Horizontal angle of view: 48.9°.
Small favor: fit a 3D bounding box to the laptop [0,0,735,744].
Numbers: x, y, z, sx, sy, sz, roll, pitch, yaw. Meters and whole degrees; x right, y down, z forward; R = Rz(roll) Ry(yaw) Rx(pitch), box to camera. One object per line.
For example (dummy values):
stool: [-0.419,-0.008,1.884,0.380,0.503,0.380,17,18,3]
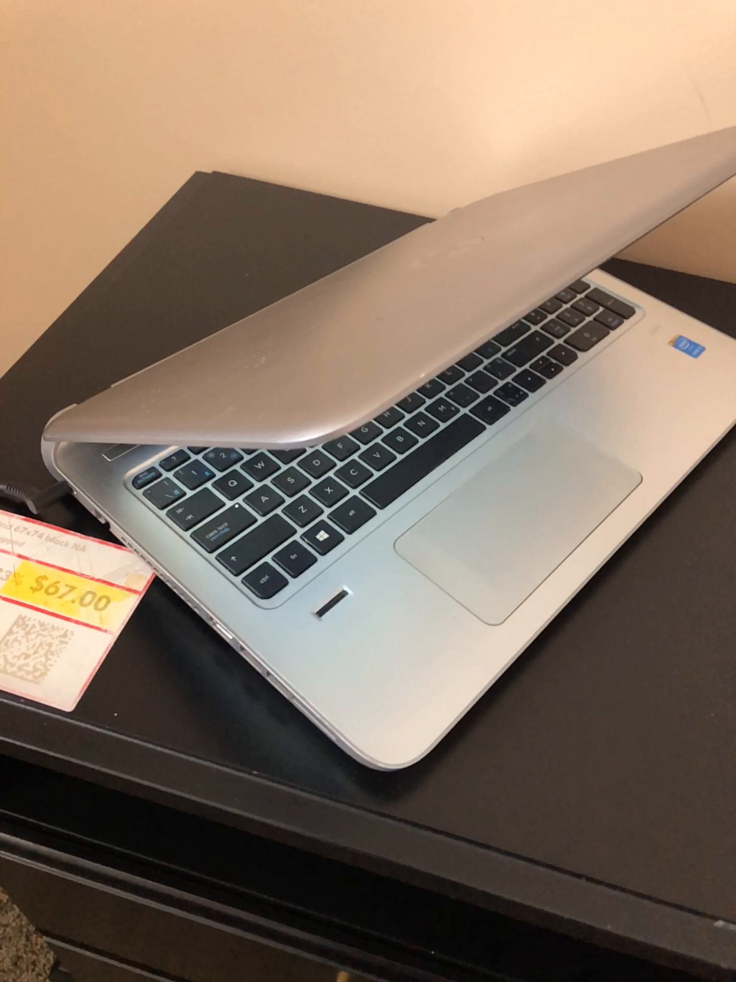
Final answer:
laptop: [0.049,-0.100,0.408,0.228,0.153,0.356,36,54,24]
